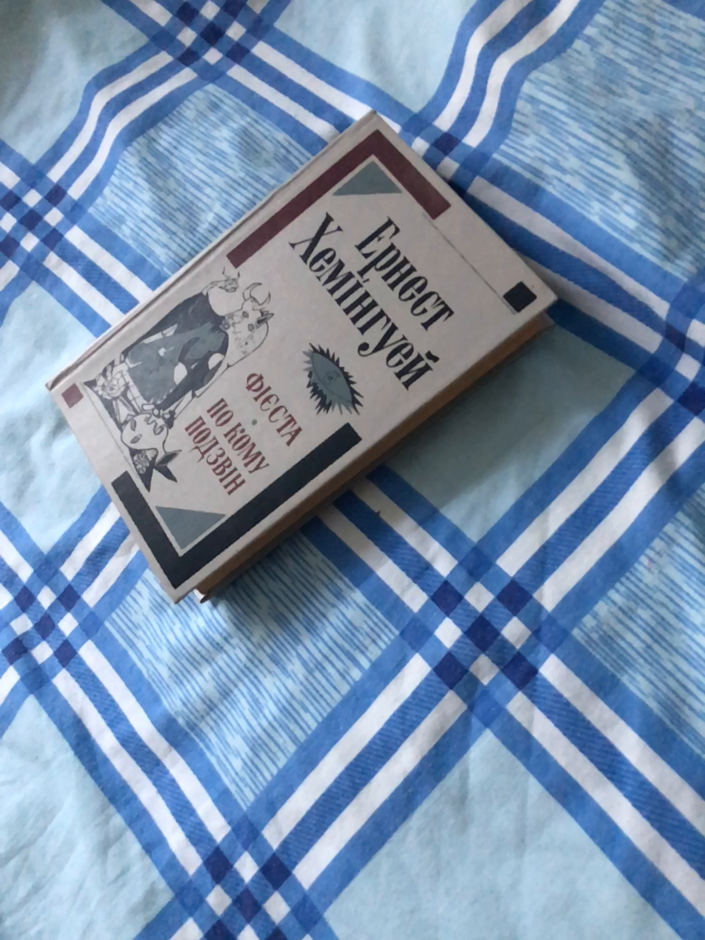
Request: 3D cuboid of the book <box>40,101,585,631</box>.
[{"bbox_3d":[-0.026,-0.049,0.369,0.220,0.040,0.142,-38,67,6],"label":"book"}]
